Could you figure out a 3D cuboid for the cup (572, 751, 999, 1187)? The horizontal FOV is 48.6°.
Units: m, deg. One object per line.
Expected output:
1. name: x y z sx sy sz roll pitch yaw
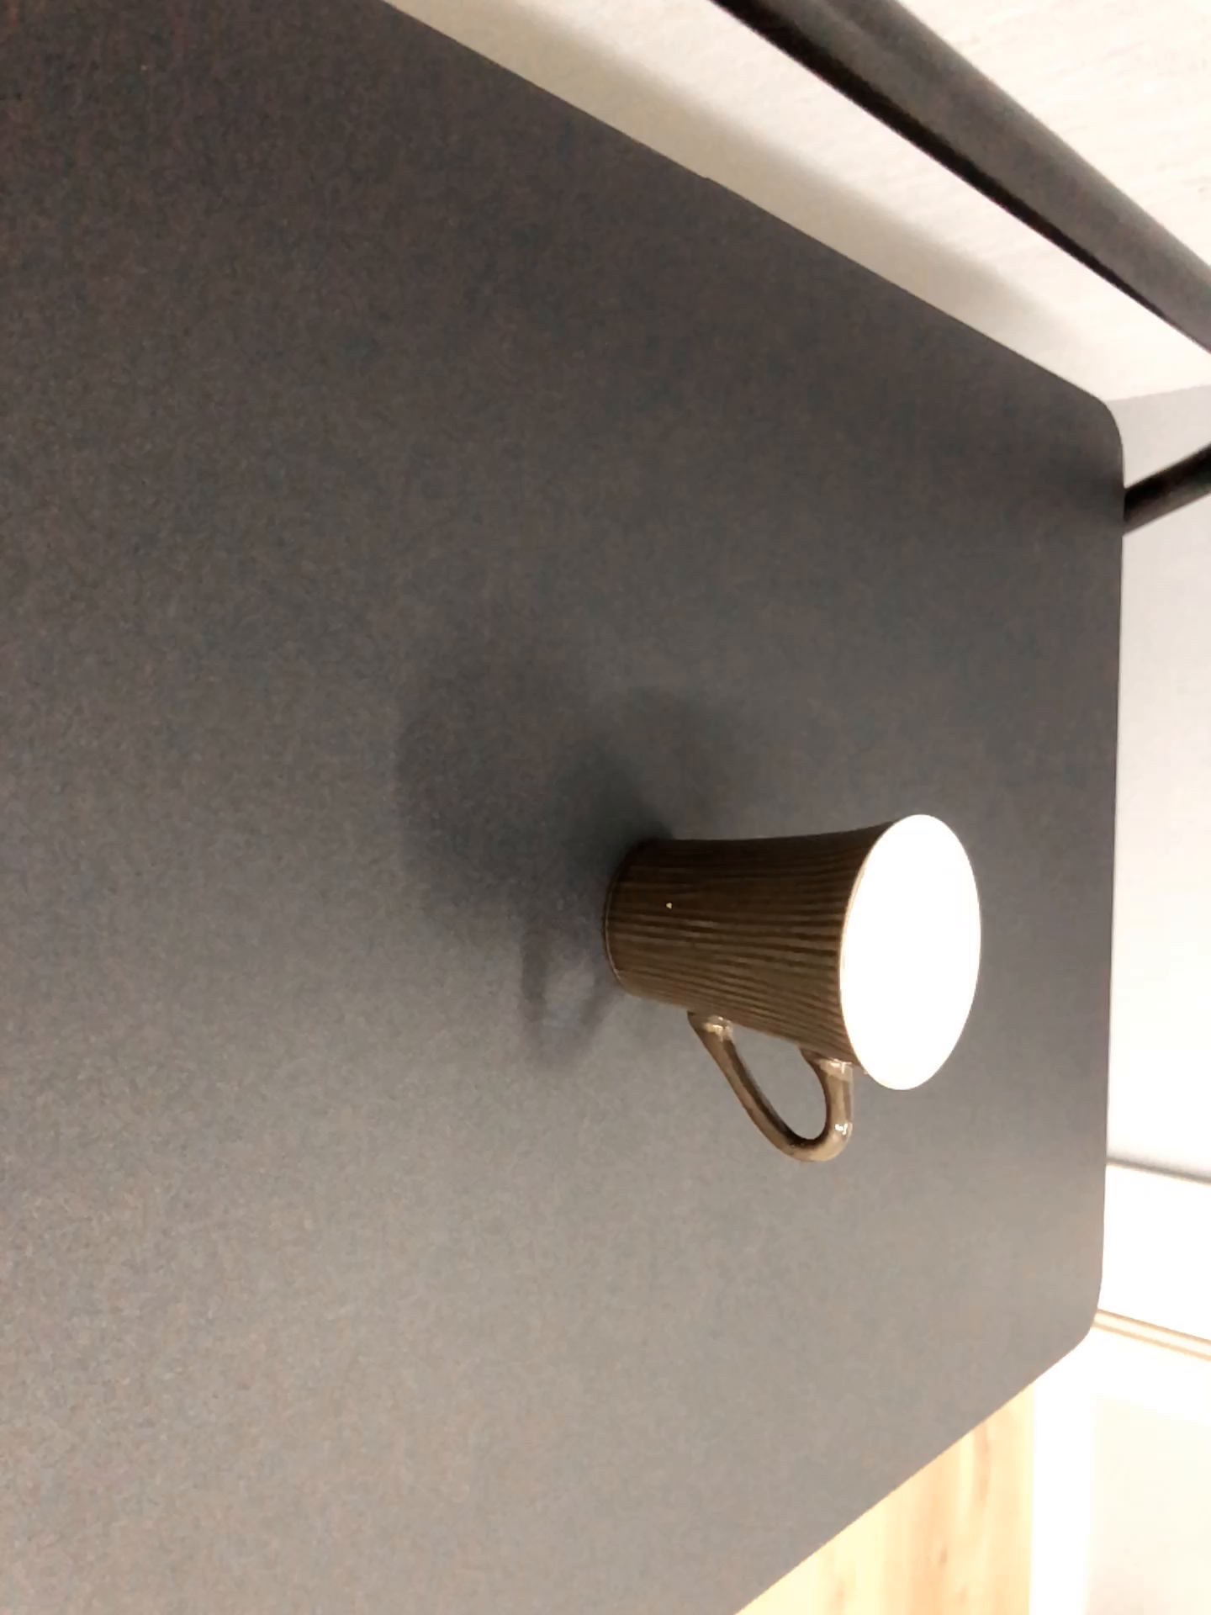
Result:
1. cup: 0.044 0.036 0.323 0.066 0.069 0.089 11 83 -48
